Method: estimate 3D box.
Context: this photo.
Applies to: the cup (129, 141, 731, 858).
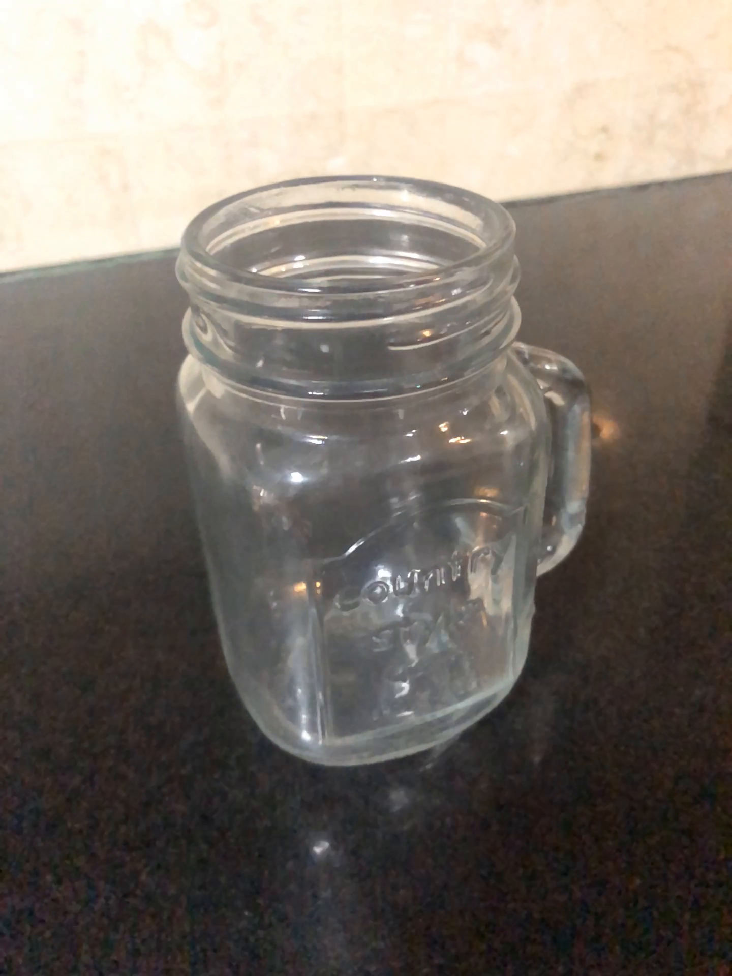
[{"bbox_3d":[0.017,-0.001,0.202,0.110,0.129,0.081,-15,37,-17],"label":"cup"}]
